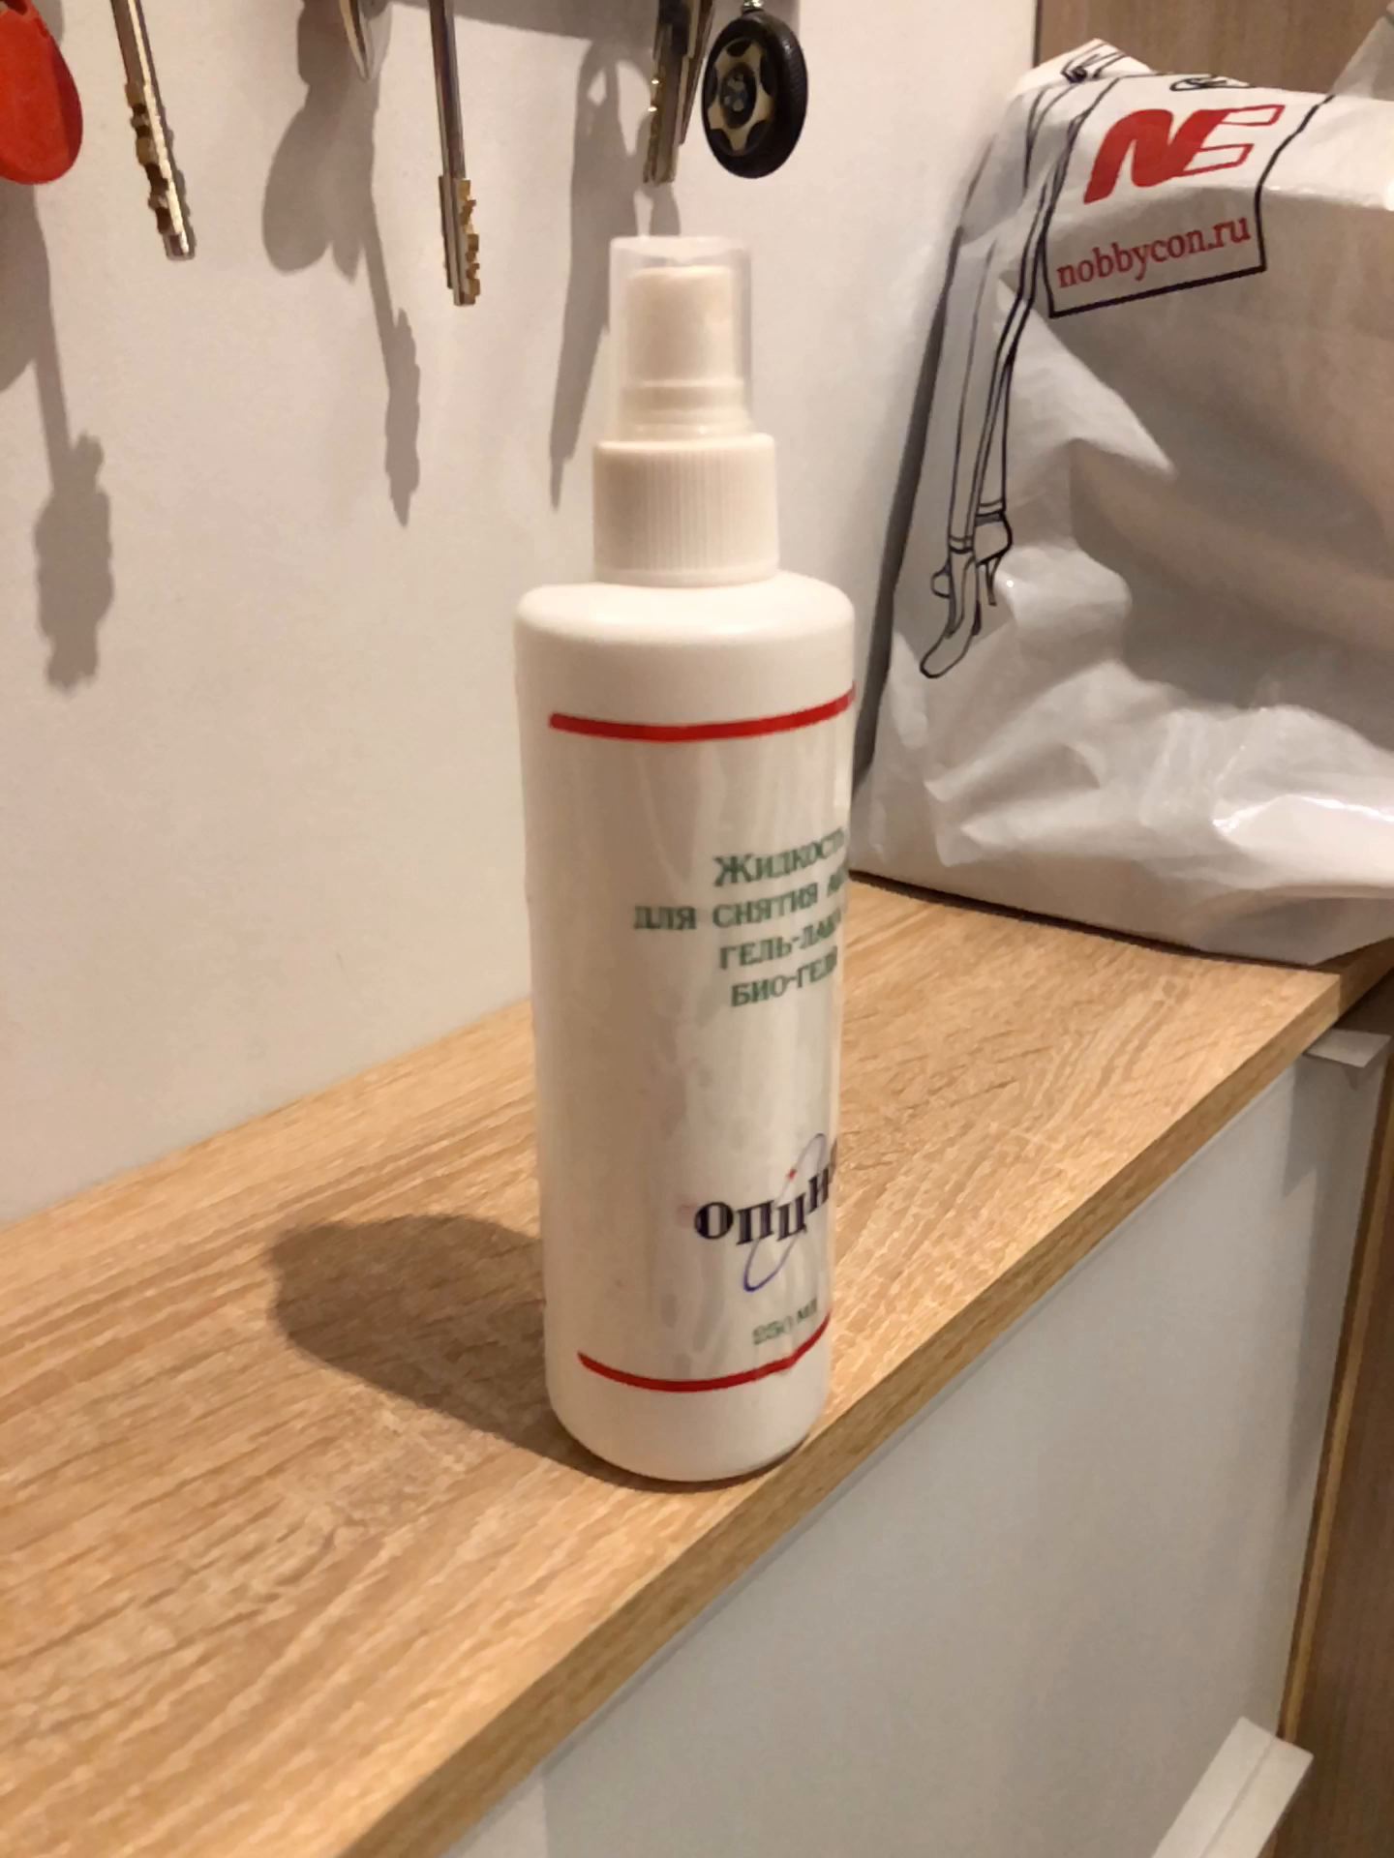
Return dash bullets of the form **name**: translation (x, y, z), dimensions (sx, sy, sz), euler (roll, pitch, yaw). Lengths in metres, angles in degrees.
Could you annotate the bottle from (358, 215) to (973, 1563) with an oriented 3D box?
- **bottle**: translation (-0.004, -0.006, 0.235), dimensions (0.056, 0.183, 0.059), euler (0, 21, 0)
